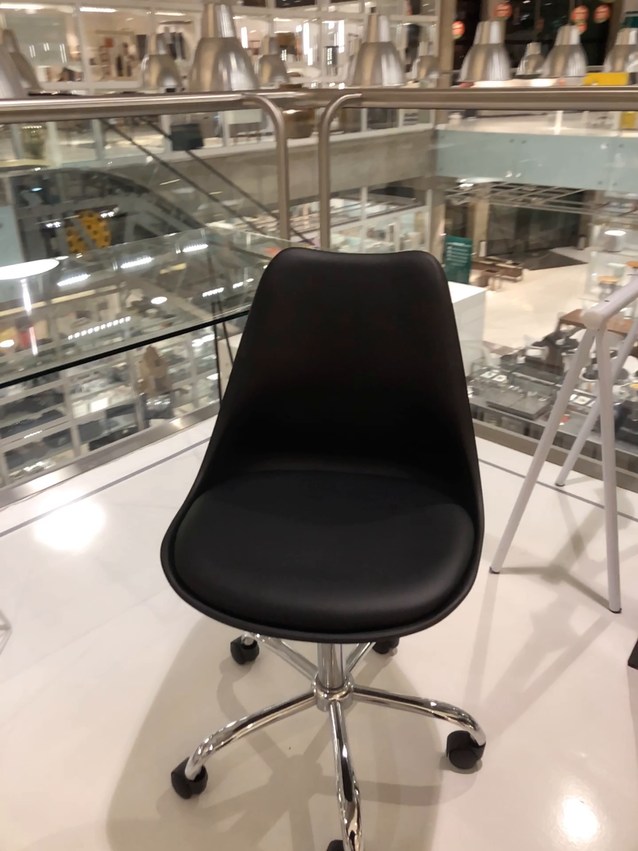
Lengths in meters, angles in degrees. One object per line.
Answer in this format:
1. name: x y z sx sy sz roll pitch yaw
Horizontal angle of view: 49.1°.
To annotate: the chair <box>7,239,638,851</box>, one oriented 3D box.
1. chair: 0.048 0.182 1.136 0.630 0.824 0.634 3 26 10
